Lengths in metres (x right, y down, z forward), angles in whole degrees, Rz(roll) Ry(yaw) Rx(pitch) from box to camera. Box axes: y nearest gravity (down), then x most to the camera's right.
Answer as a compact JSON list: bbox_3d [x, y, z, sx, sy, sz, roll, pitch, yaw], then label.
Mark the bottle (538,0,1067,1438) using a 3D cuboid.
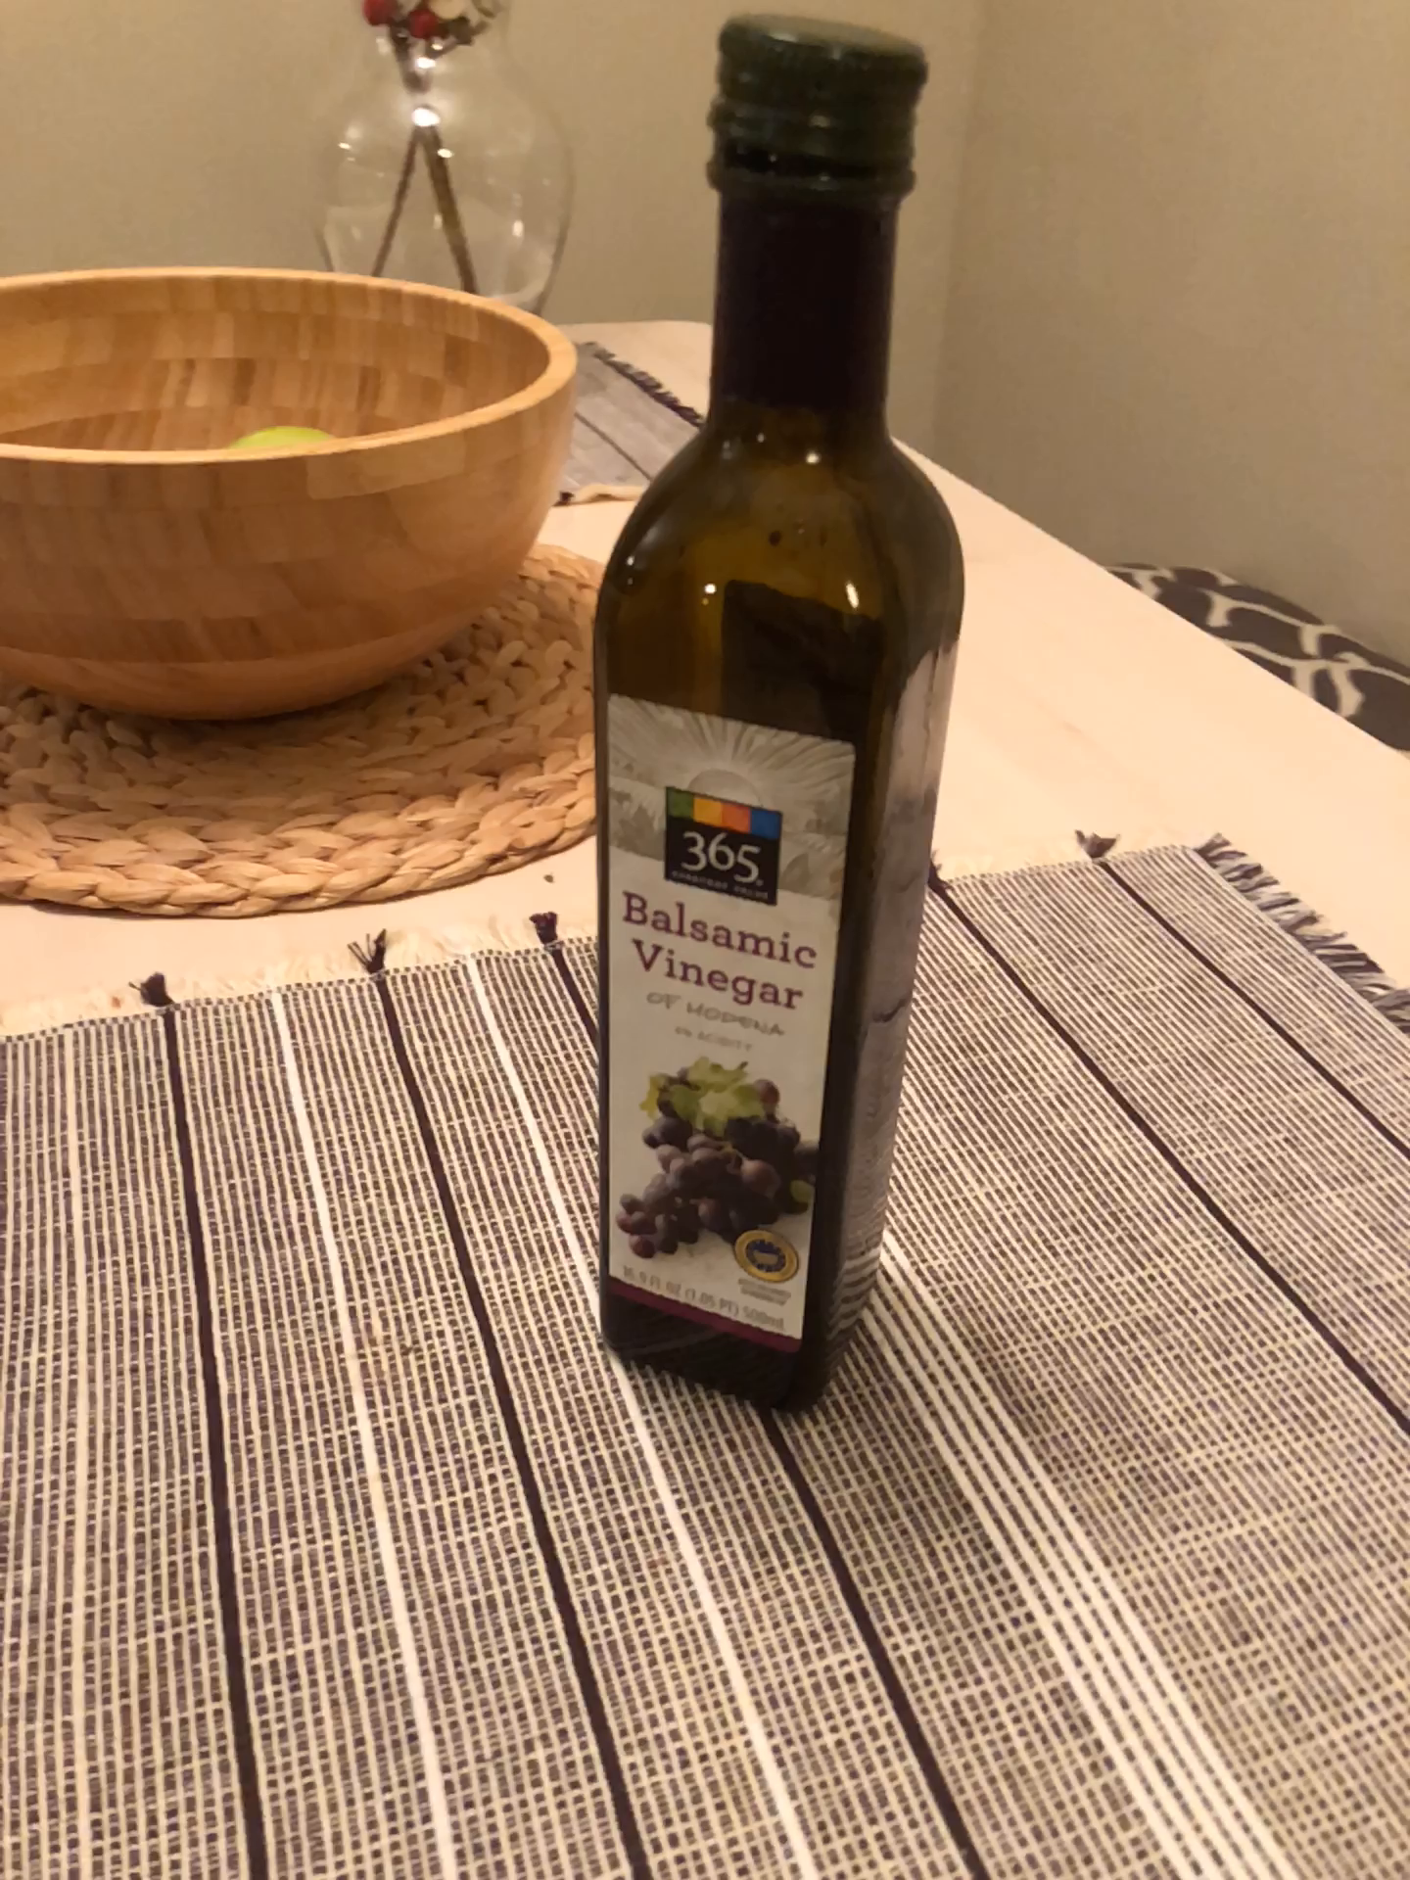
[{"bbox_3d":[0.012,-0.025,0.296,0.060,0.261,0.060,2,33,-1],"label":"bottle"}]
